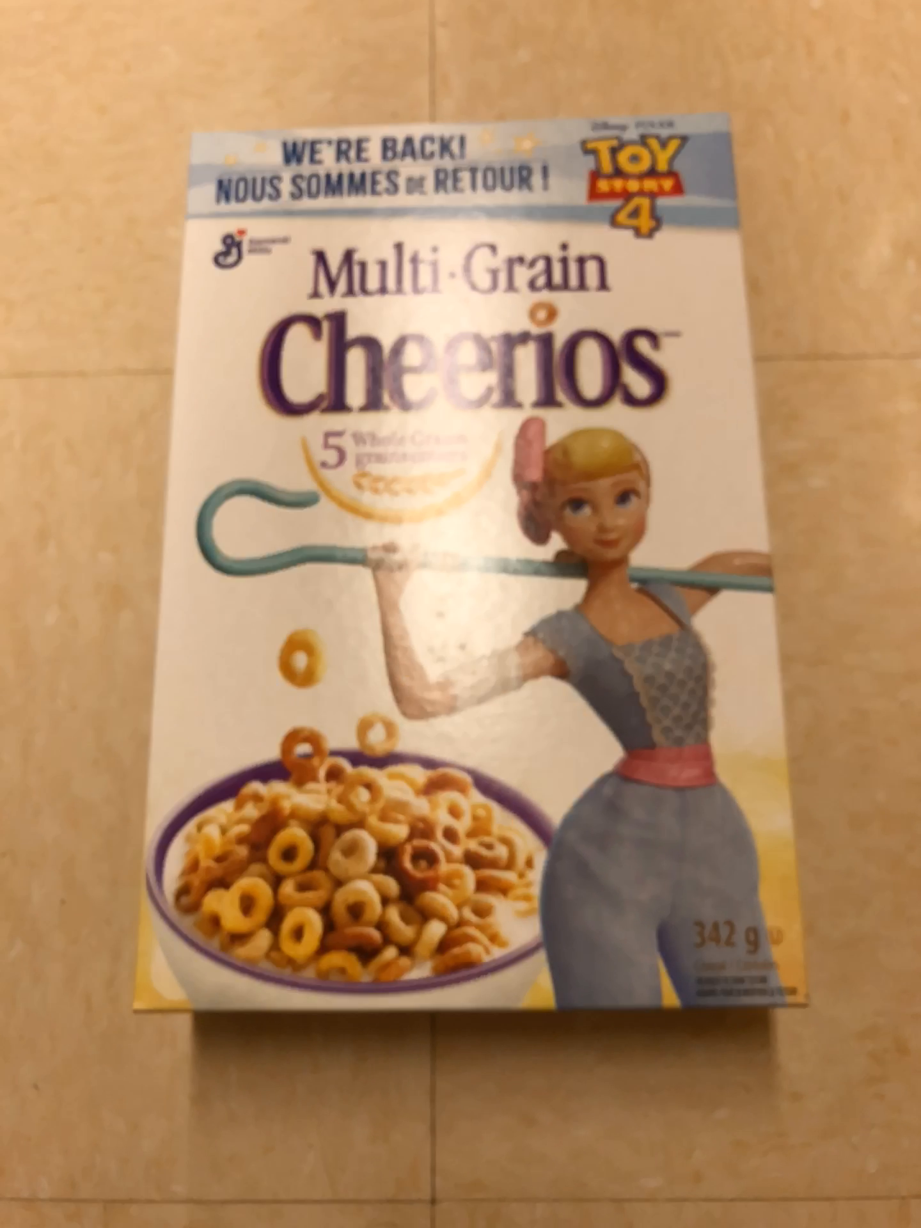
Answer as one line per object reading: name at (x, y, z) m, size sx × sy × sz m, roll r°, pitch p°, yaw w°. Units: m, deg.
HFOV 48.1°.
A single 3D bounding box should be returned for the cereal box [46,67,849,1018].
cereal box at (-0.006, -0.028, 0.340) m, size 0.210 × 0.070 × 0.290 m, roll -2°, pitch 75°, yaw 2°
